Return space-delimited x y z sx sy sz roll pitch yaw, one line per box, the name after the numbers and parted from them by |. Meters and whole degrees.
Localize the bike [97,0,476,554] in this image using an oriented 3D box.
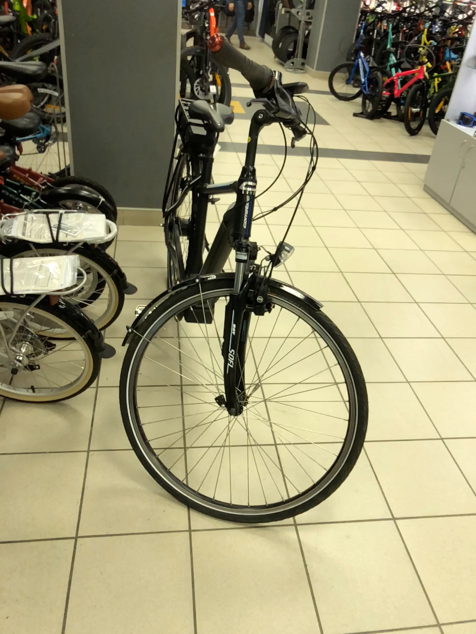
0.026 -0.320 1.867 0.697 1.176 1.619 -7 37 -22 | bike
